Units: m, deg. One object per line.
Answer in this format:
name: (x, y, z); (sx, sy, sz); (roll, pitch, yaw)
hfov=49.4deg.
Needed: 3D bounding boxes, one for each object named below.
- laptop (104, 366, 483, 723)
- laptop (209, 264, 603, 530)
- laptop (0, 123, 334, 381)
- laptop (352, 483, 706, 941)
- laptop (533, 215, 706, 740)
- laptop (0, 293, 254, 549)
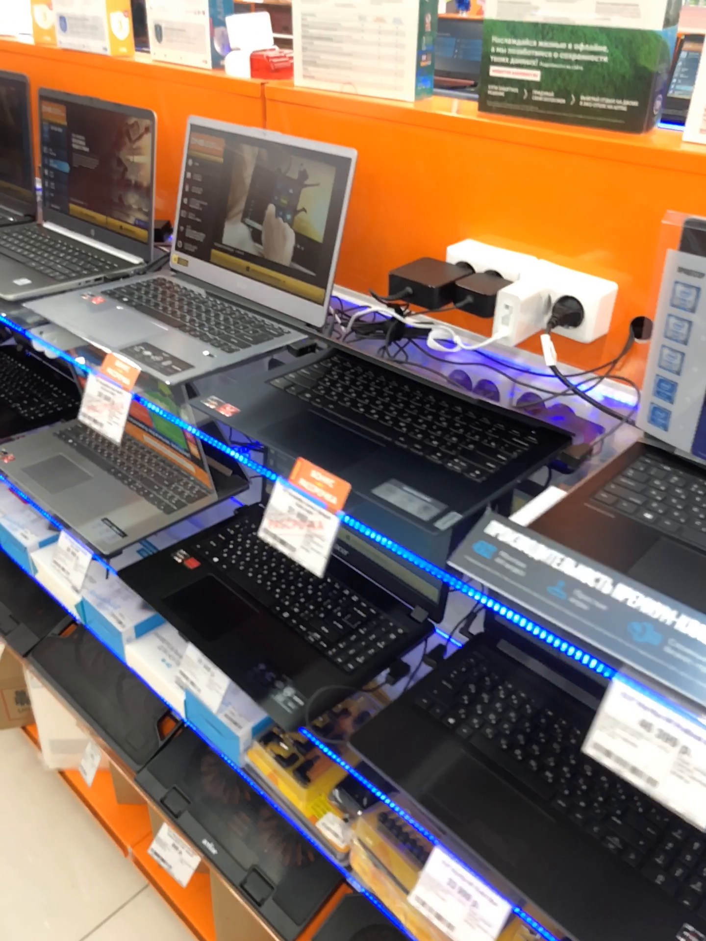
laptop: (-0.078, 0.061, 0.913); (0.246, 0.230, 0.343); (-24, 39, -36)
laptop: (0.041, -0.092, 0.729); (0.299, 0.106, 0.212); (27, 39, 37)
laptop: (-0.221, -0.280, 0.920); (0.316, 0.203, 0.225); (28, 39, 35)
laptop: (0.209, 0.207, 0.693); (0.226, 0.215, 0.353); (-24, 39, -37)
laptop: (0.344, -0.029, 0.524); (0.228, 0.213, 0.306); (-25, 40, -39)
laptop: (-0.366, -0.092, 1.144); (0.348, 0.207, 0.235); (28, 40, 34)
